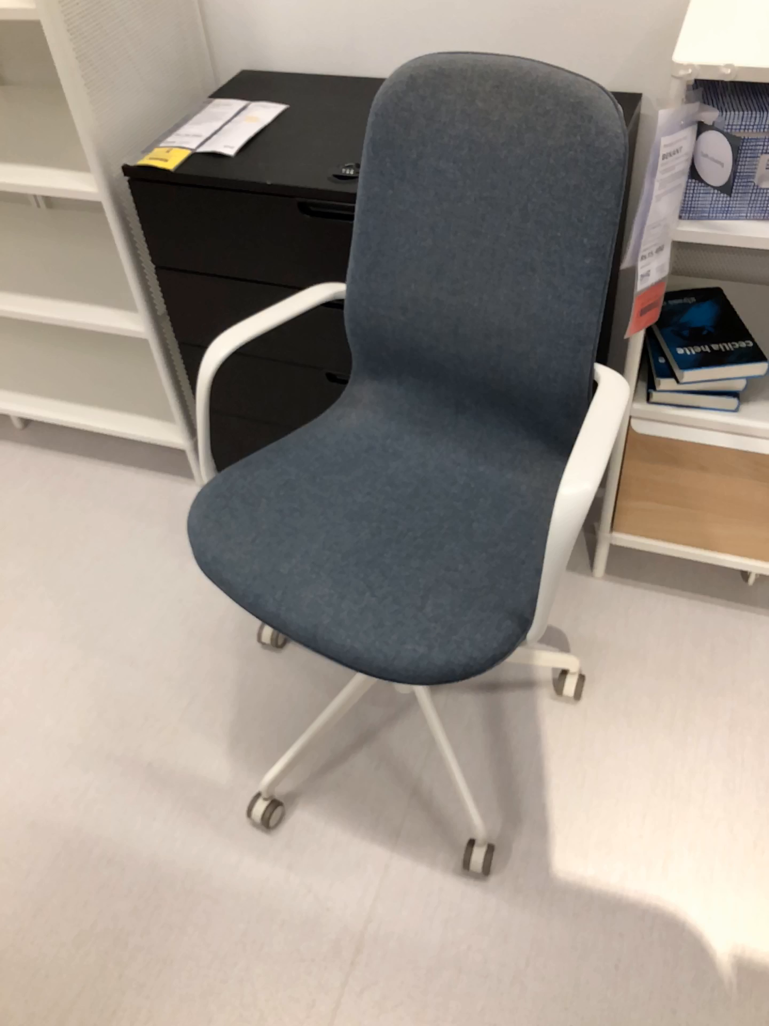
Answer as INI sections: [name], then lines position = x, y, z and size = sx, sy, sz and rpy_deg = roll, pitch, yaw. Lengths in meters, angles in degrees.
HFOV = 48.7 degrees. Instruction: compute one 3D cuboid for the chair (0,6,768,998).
[chair]
position = -0.022, -0.007, 1.204
size = 0.702, 0.994, 0.703
rpy_deg = -37, 53, -26
